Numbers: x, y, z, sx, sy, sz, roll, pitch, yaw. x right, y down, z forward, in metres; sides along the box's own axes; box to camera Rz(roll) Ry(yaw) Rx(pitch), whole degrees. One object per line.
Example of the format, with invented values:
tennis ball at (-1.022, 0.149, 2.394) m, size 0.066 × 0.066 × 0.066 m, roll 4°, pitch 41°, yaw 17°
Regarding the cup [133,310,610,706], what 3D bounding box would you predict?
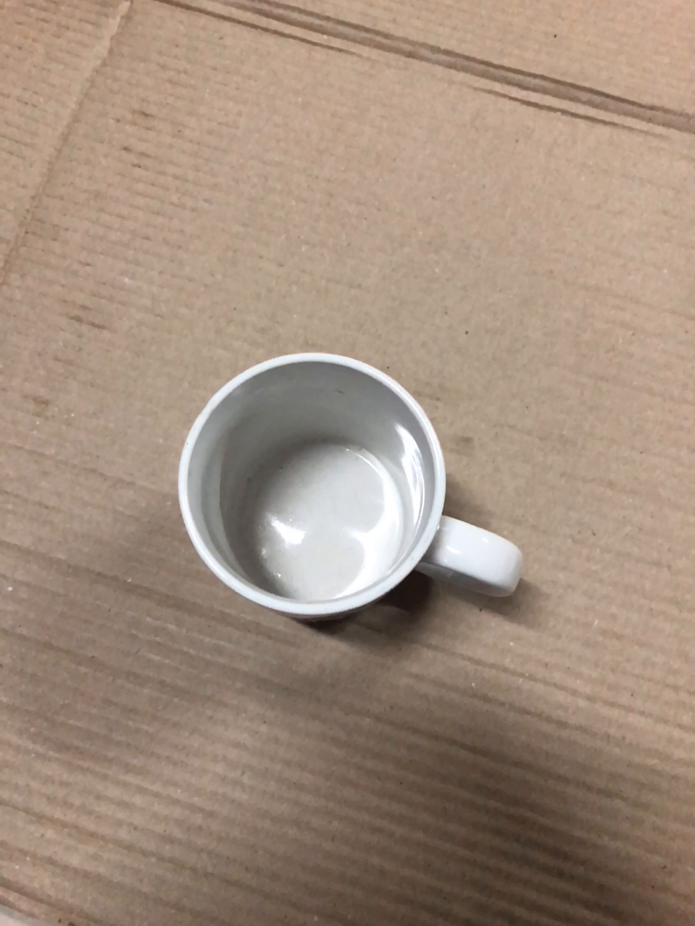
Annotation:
cup at (0.008, 0.020, 0.246) m, size 0.110 × 0.080 × 0.080 m, roll 16°, pitch 72°, yaw 5°
